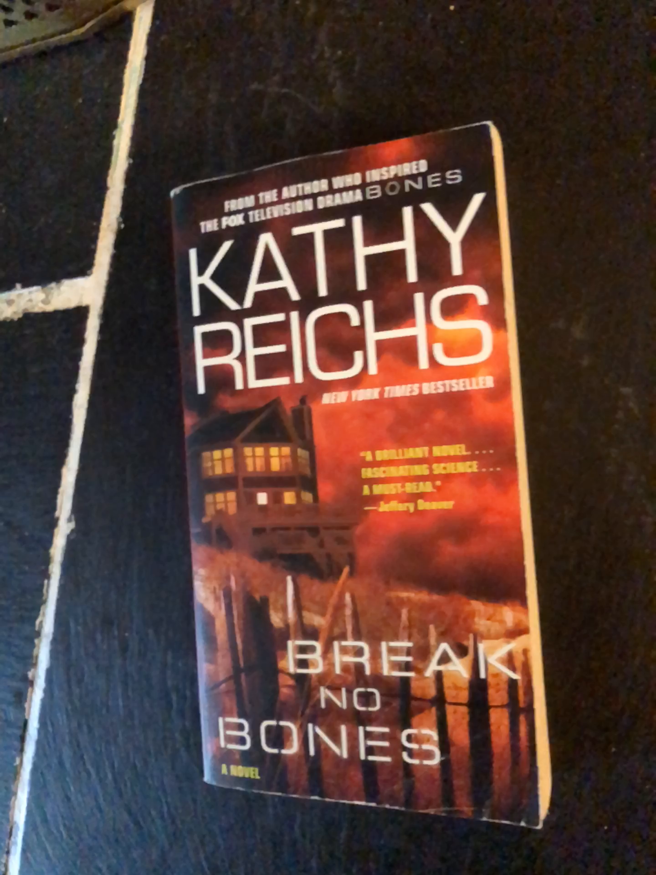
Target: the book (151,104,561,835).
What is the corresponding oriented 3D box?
[{"bbox_3d":[0.007,0.011,0.222,0.108,0.030,0.189,-4,89,20],"label":"book"}]
